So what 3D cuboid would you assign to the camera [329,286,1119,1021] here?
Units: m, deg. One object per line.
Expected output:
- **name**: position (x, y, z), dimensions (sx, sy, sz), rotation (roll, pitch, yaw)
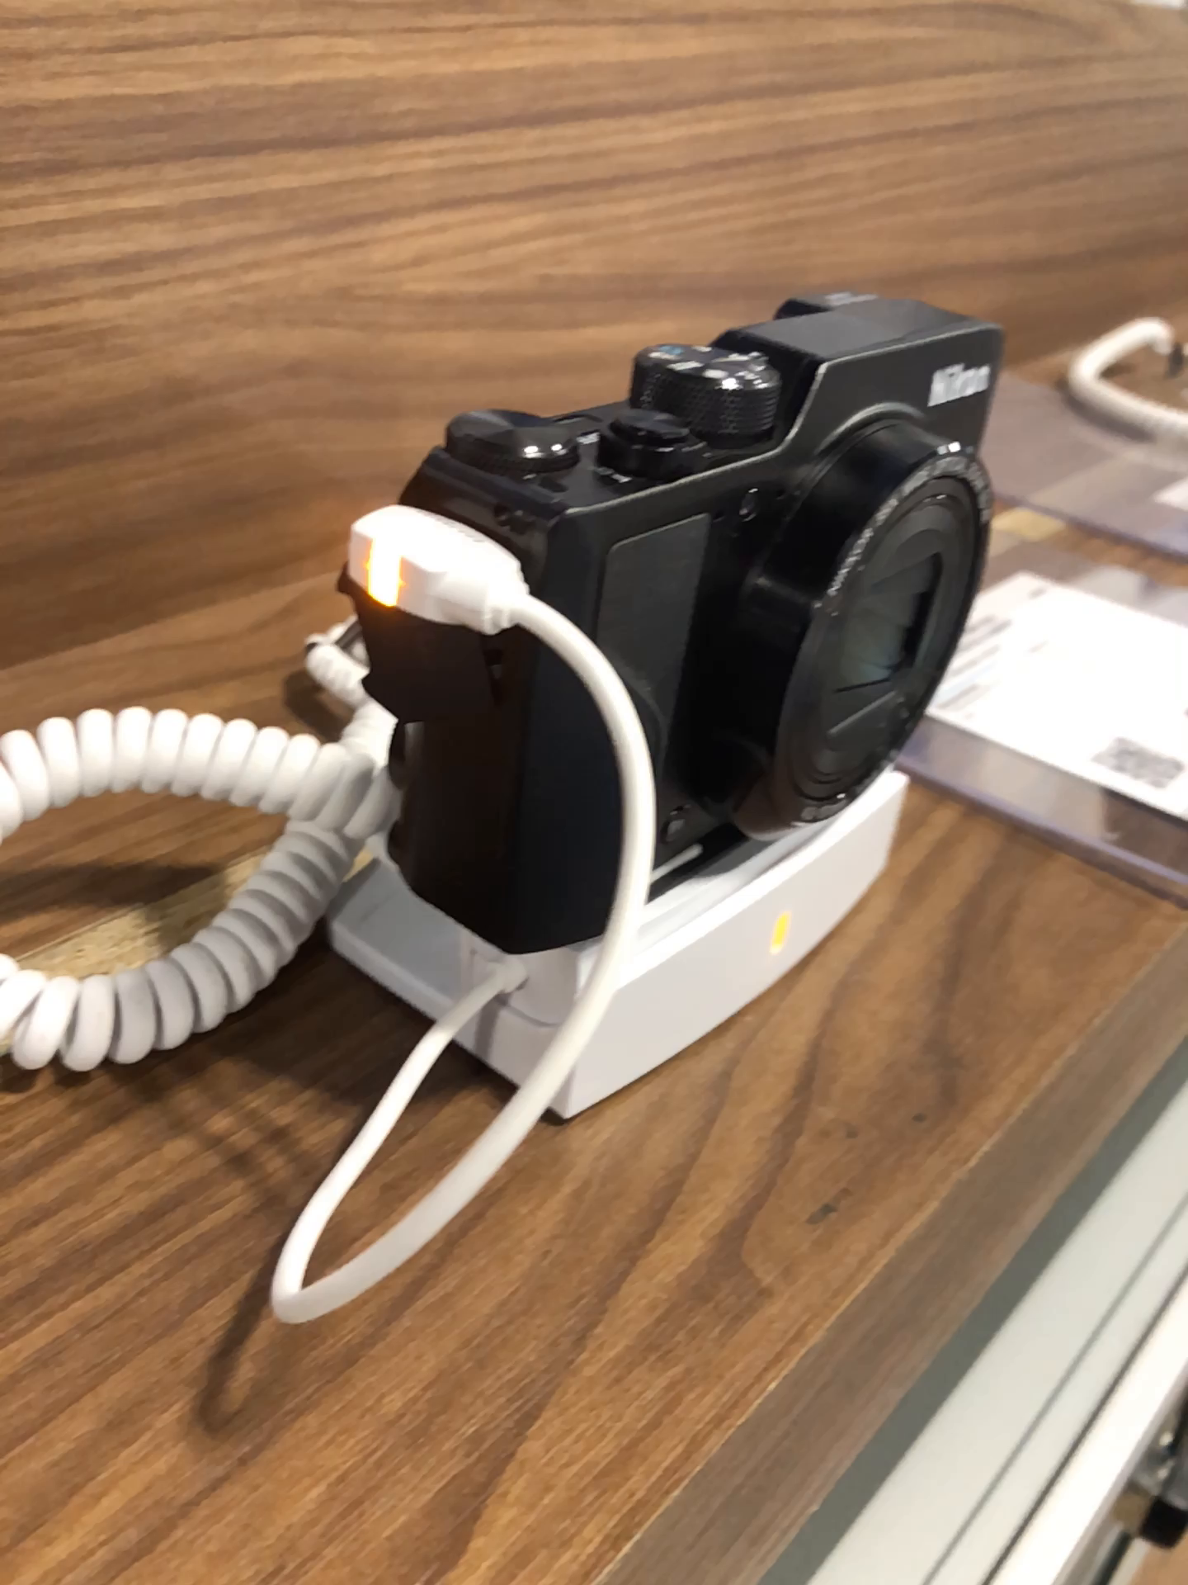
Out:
- **camera**: position (0.024, -0.031, 0.206), dimensions (0.050, 0.070, 0.120), rotation (27, 37, 33)
